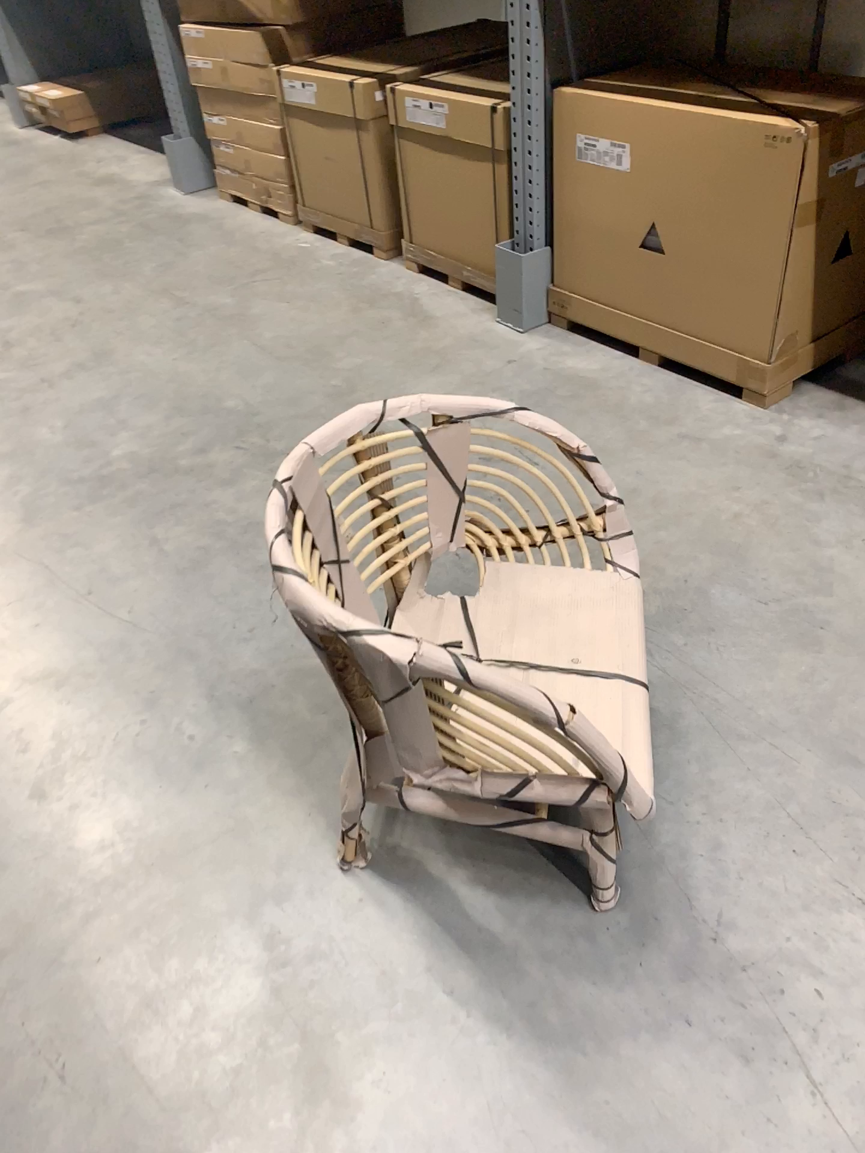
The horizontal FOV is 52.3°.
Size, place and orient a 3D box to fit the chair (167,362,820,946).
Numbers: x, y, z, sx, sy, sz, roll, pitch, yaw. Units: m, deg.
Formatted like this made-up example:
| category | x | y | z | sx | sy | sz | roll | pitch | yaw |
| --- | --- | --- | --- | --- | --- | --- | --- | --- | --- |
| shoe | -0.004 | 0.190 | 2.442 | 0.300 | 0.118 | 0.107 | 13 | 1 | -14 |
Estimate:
| category | x | y | z | sx | sy | sz | roll | pitch | yaw |
| --- | --- | --- | --- | --- | --- | --- | --- | --- | --- |
| chair | 0.131 | 0.073 | 1.482 | 0.760 | 0.567 | 0.753 | 2 | 40 | 11 |
